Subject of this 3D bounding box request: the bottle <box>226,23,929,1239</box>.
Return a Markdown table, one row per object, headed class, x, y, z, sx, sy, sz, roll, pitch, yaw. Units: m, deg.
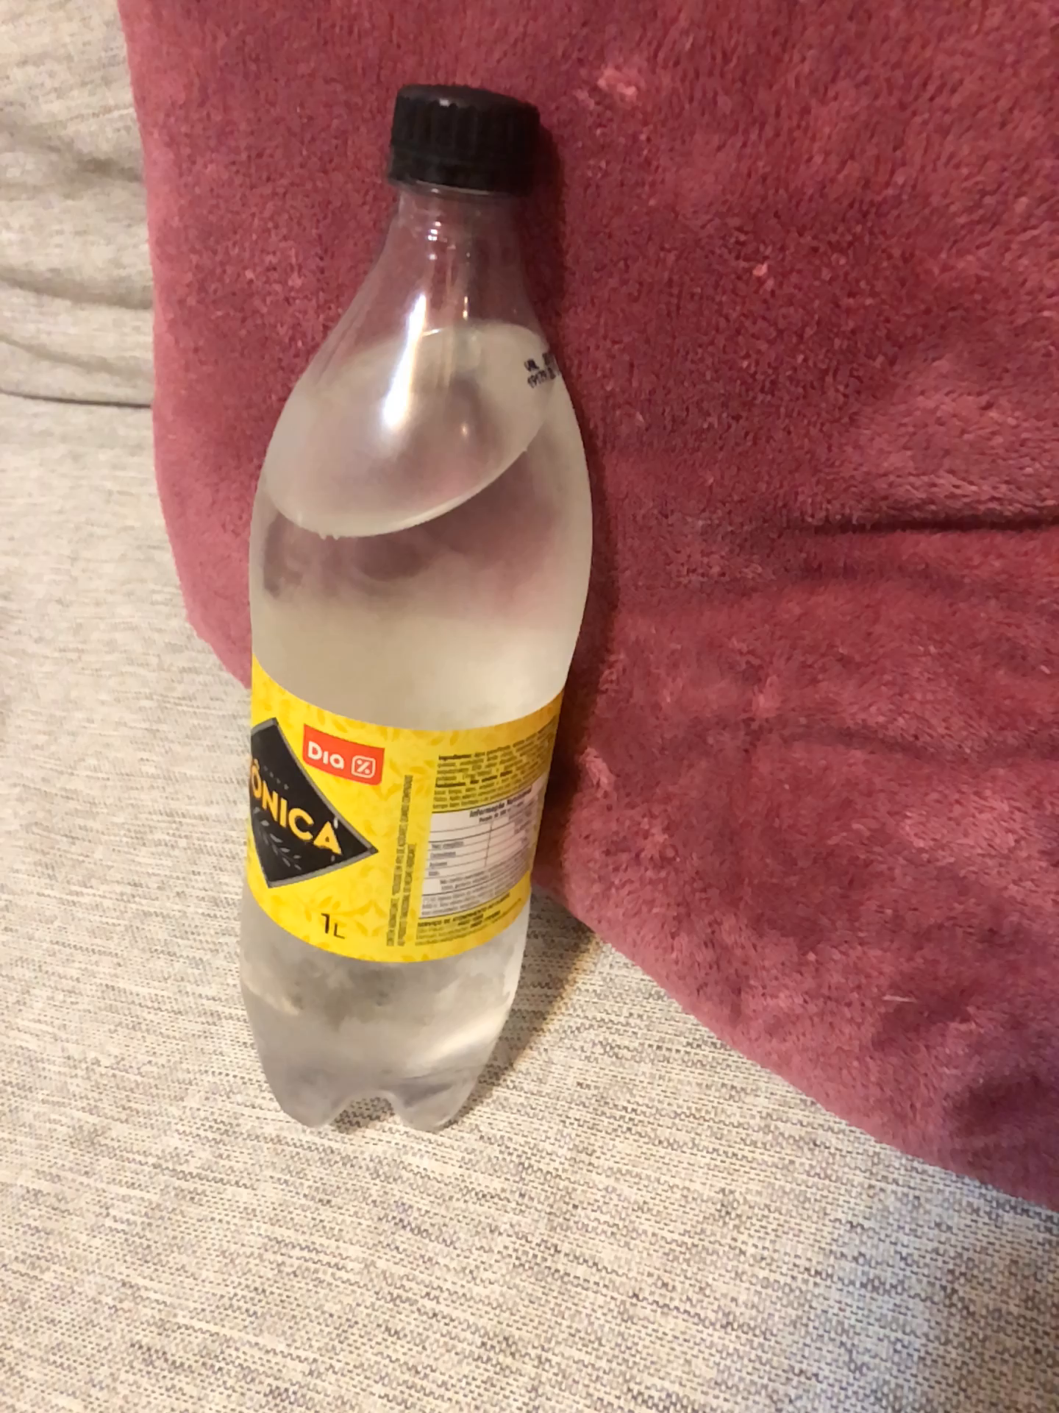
| class | x | y | z | sx | sy | sz | roll | pitch | yaw |
| --- | --- | --- | --- | --- | --- | --- | --- | --- | --- |
| bottle | -0.007 | -0.011 | 0.302 | 0.100 | 0.269 | 0.100 | 7 | 30 | -4 |
